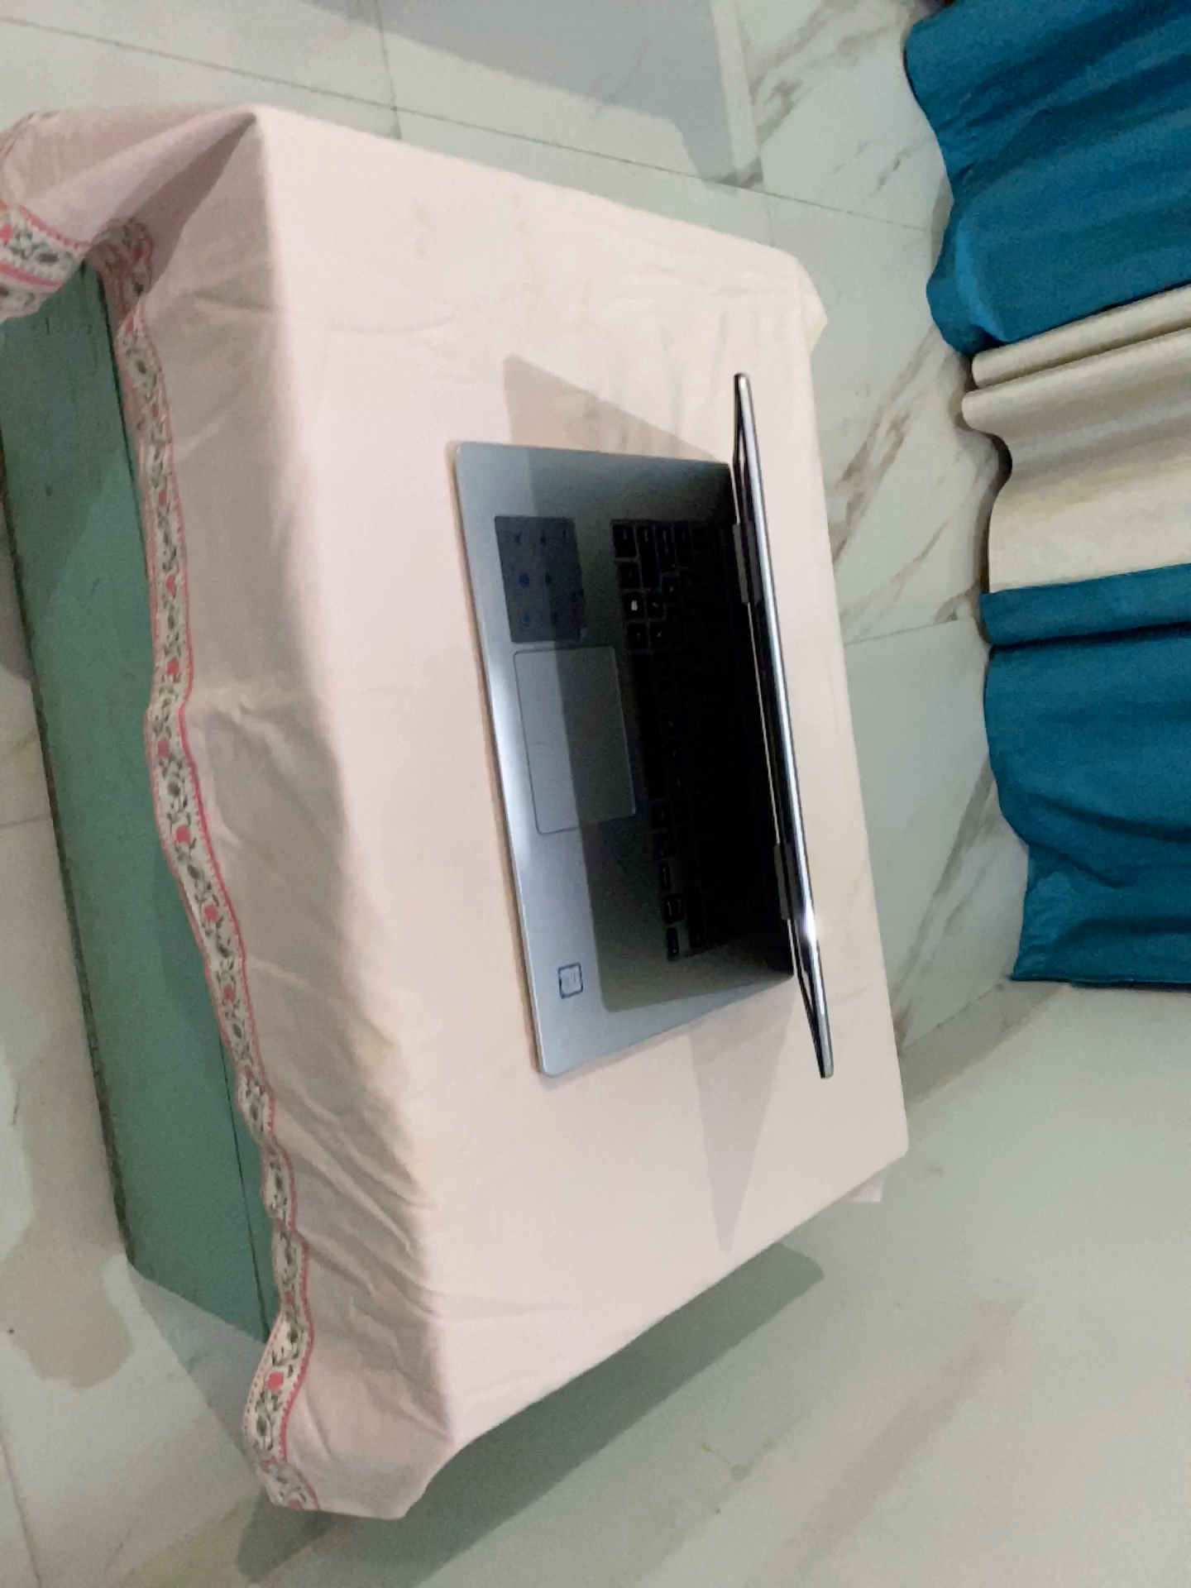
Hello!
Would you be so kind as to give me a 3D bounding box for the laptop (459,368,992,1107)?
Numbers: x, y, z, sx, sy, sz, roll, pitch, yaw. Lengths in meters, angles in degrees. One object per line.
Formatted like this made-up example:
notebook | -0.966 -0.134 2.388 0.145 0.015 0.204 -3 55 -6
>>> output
laptop | 0.085 -0.036 0.698 0.235 0.149 0.347 -12 96 -45
